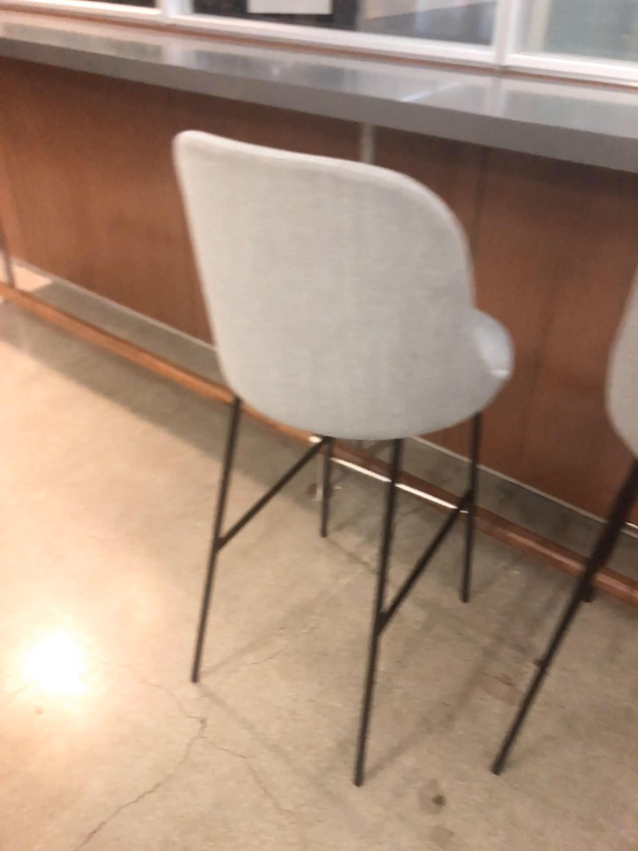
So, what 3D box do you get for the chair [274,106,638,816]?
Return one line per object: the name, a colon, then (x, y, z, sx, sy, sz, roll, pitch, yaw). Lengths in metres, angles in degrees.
chair: (0.382, 0.113, 1.742, 0.711, 1.487, 0.625, 22, 40, 28)
